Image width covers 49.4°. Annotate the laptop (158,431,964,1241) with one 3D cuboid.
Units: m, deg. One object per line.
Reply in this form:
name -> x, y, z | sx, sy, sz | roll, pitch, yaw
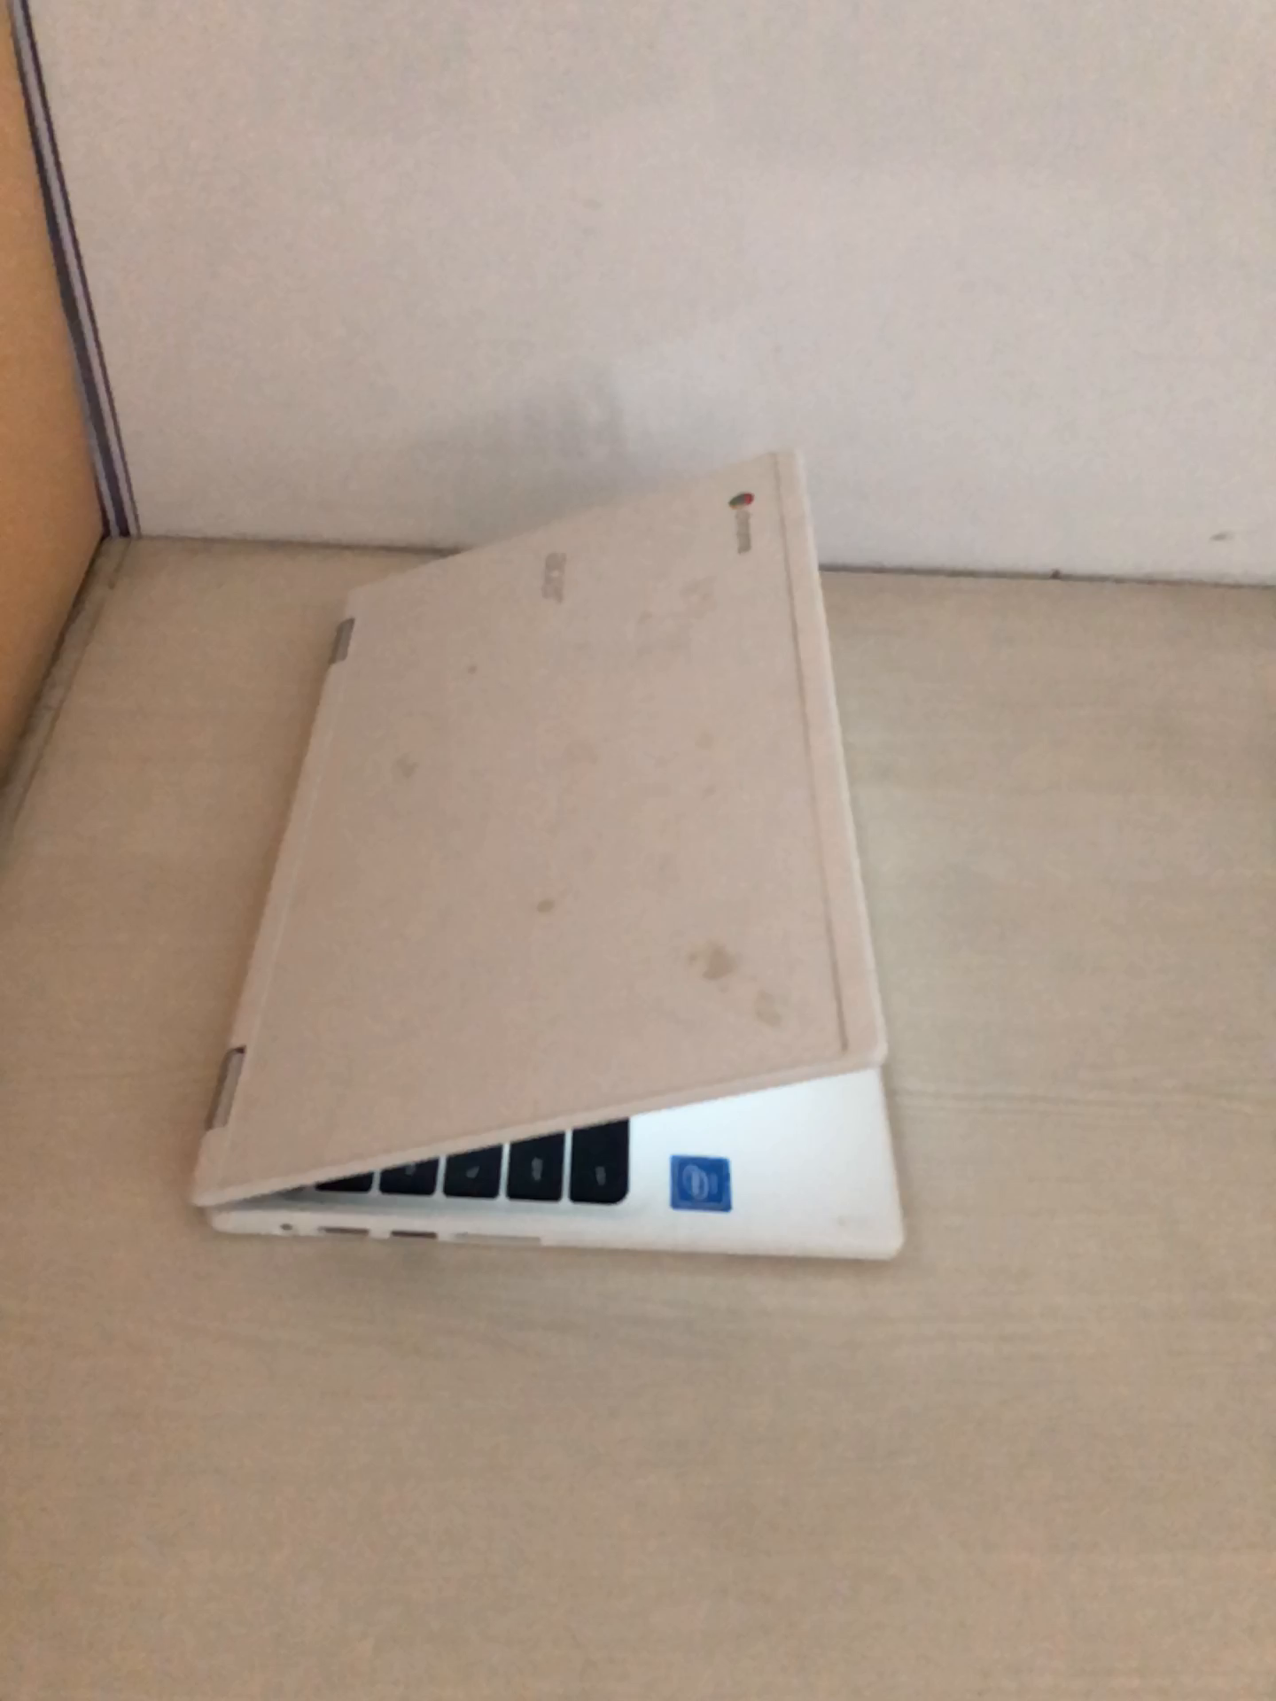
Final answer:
laptop -> -0.019, -0.024, 0.475 | 0.200, 0.092, 0.285 | 2, 46, -1
